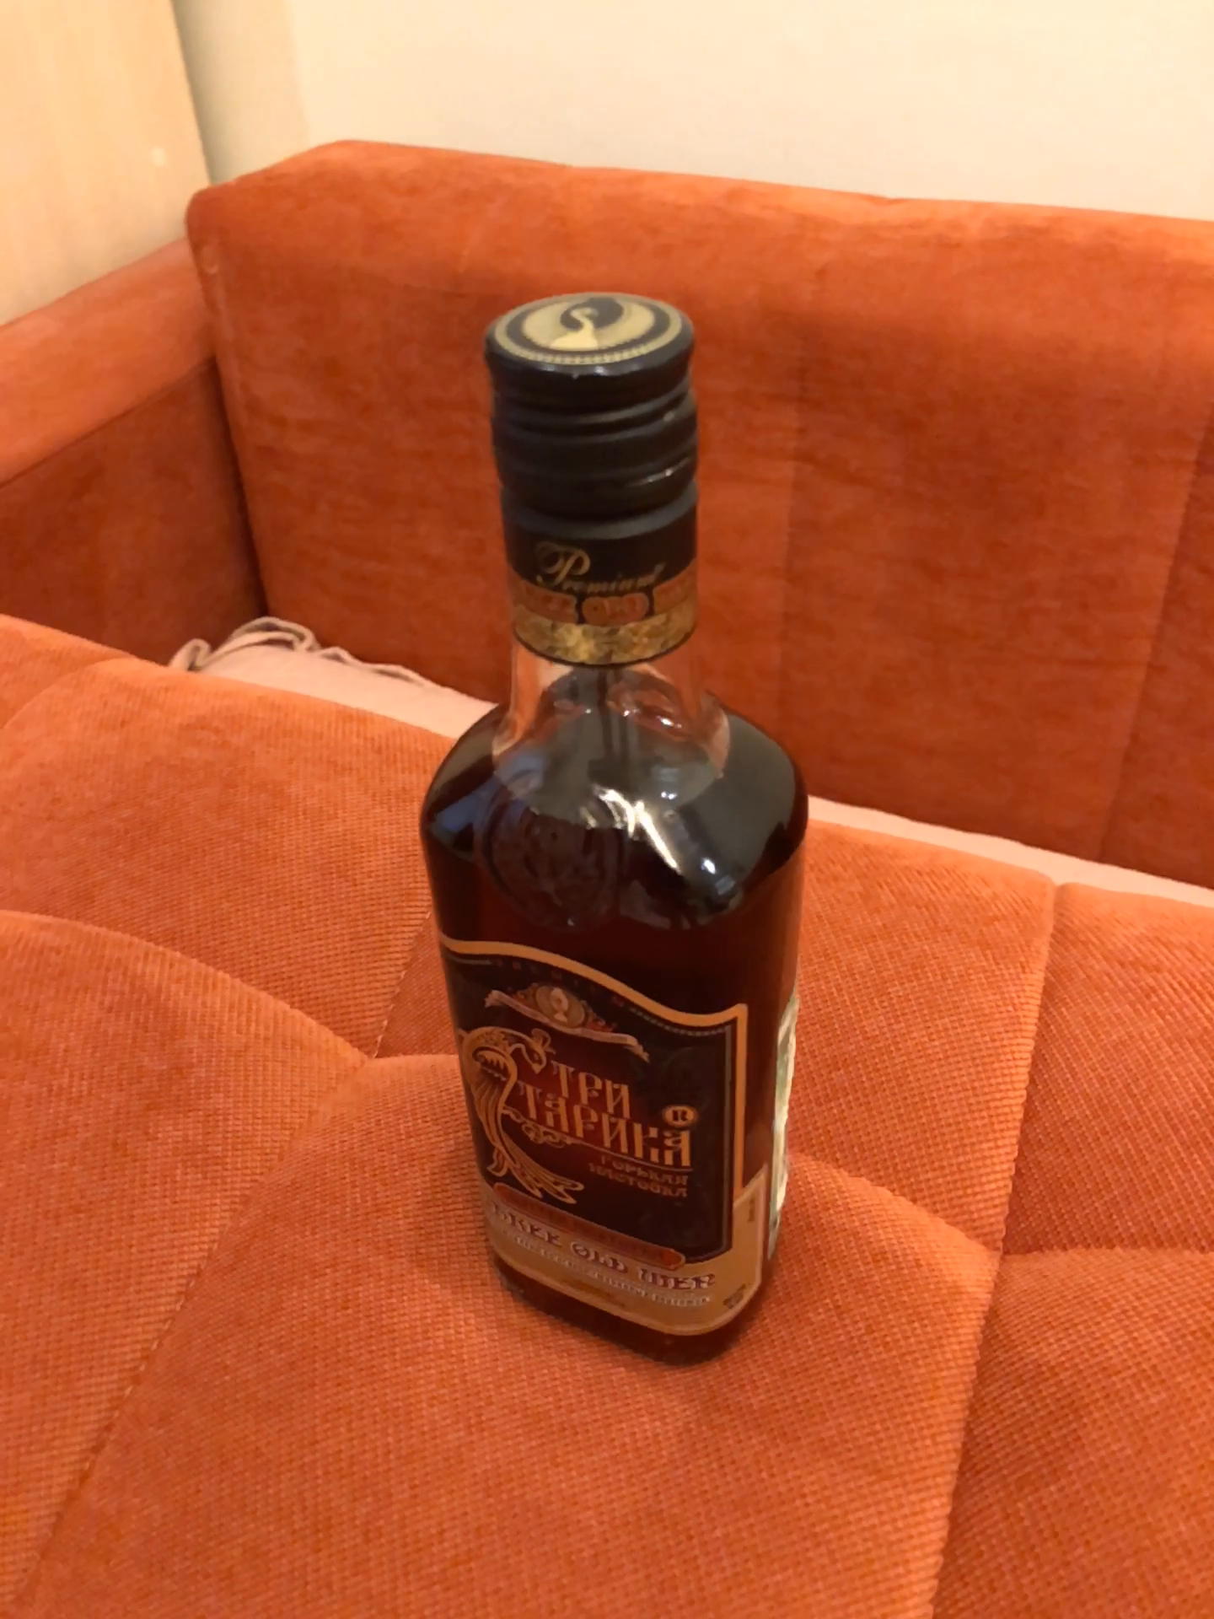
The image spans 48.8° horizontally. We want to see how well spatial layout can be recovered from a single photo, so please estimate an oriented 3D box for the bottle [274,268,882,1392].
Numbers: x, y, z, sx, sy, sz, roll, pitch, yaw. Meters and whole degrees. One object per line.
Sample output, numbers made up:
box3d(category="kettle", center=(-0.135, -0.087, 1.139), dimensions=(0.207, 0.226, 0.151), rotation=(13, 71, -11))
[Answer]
box3d(category="bottle", center=(0.002, 0.023, 0.276), dimensions=(0.074, 0.237, 0.057), rotation=(15, 43, 20))
